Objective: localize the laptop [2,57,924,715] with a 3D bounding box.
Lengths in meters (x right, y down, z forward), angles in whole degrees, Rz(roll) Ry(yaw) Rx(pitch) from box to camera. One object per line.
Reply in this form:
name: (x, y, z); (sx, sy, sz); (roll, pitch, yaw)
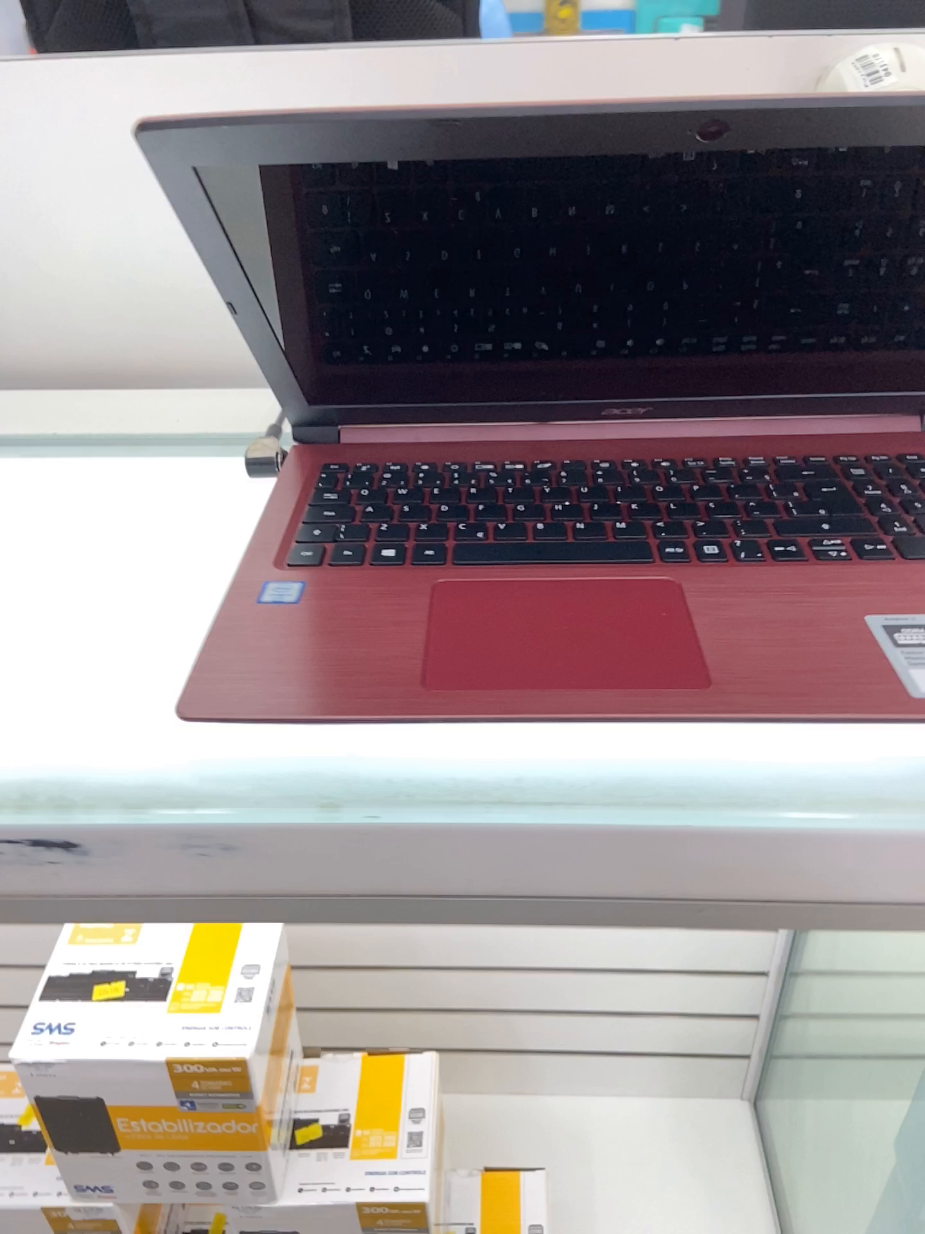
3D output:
laptop: (0.076, -0.107, 0.379); (0.367, 0.179, 0.239); (0, 33, 2)
